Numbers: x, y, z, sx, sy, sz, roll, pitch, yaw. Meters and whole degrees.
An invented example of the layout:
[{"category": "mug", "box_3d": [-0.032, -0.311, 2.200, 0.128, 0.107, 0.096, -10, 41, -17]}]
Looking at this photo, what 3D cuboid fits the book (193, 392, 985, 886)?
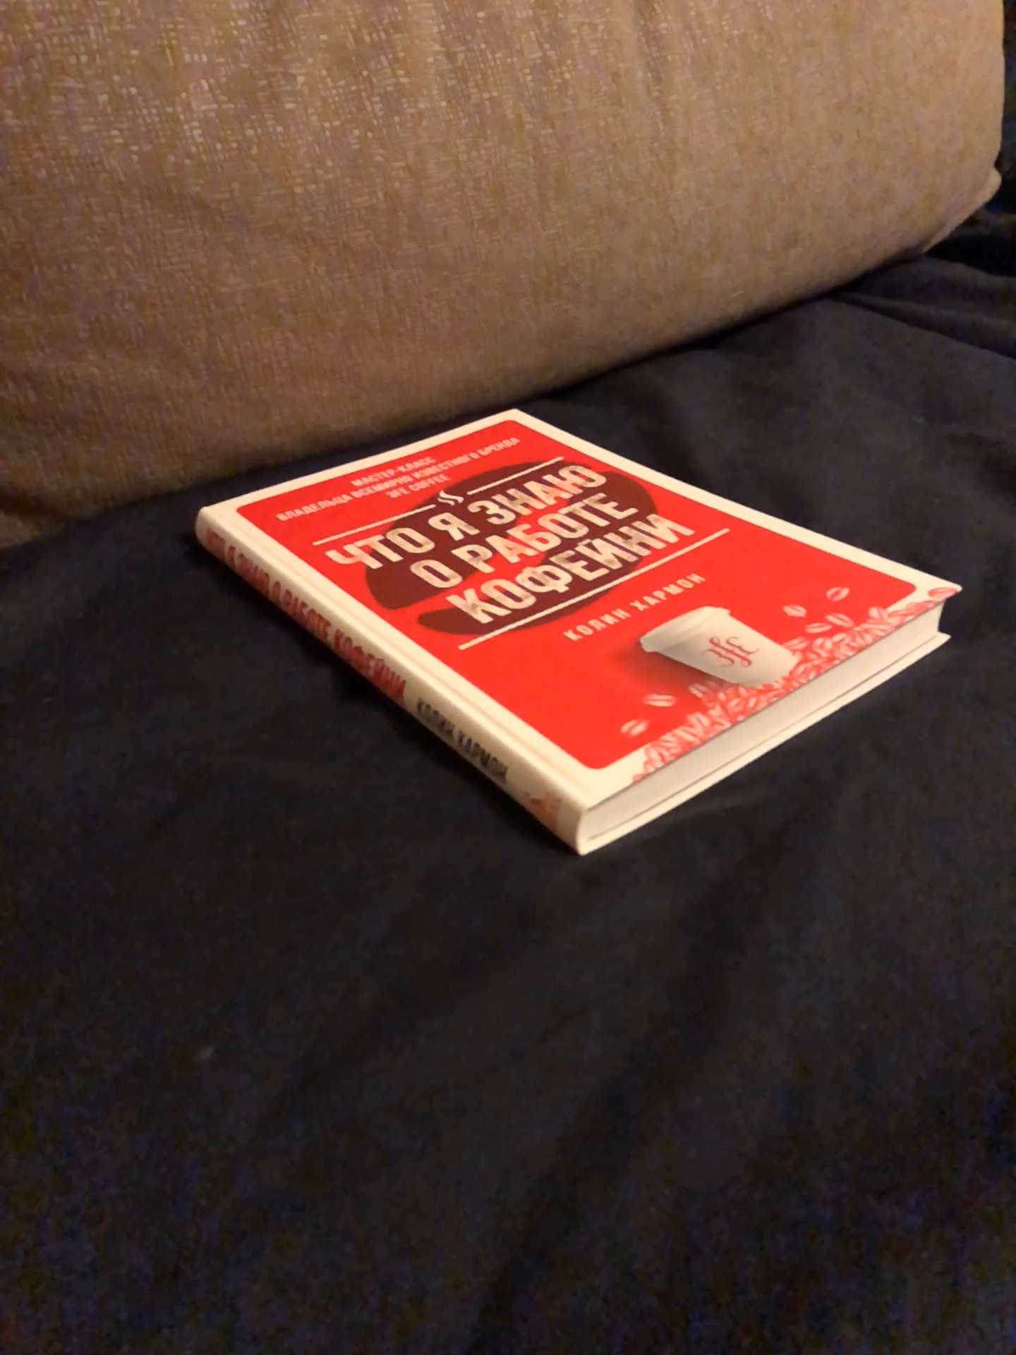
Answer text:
[{"category": "book", "box_3d": [0.013, -0.036, 0.374, 0.153, 0.020, 0.223, -26, 41, -28]}]
